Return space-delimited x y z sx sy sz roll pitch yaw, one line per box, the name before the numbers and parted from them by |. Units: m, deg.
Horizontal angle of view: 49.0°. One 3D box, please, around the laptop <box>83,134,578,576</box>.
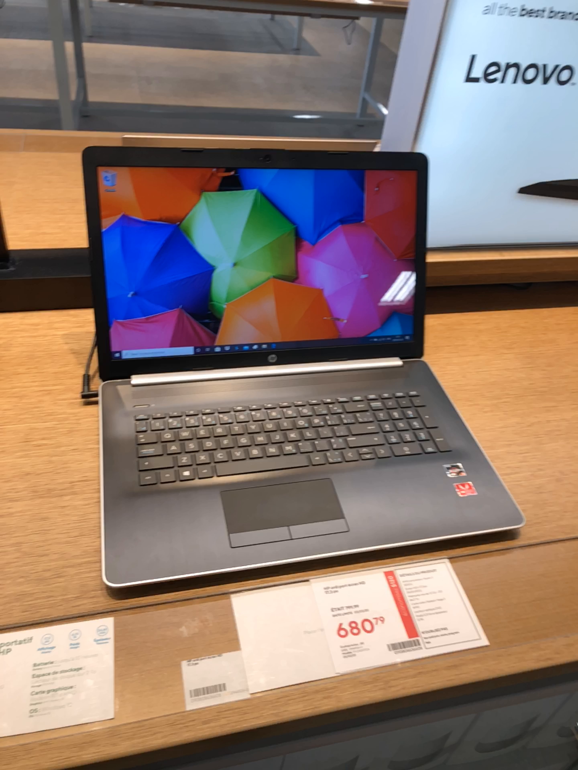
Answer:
laptop | 0.002 -0.068 0.673 0.399 0.217 0.399 -4 44 -15
